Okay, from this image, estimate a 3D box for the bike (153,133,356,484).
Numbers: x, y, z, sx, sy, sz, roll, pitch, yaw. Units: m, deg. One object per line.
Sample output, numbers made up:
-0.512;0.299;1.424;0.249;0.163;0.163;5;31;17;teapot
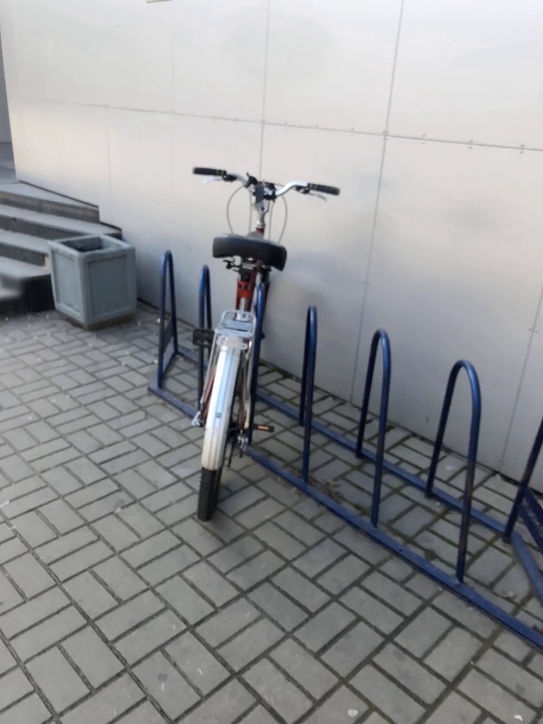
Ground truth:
0.004;-0.340;2.538;0.595;0.972;1.312;5;27;5;bike
